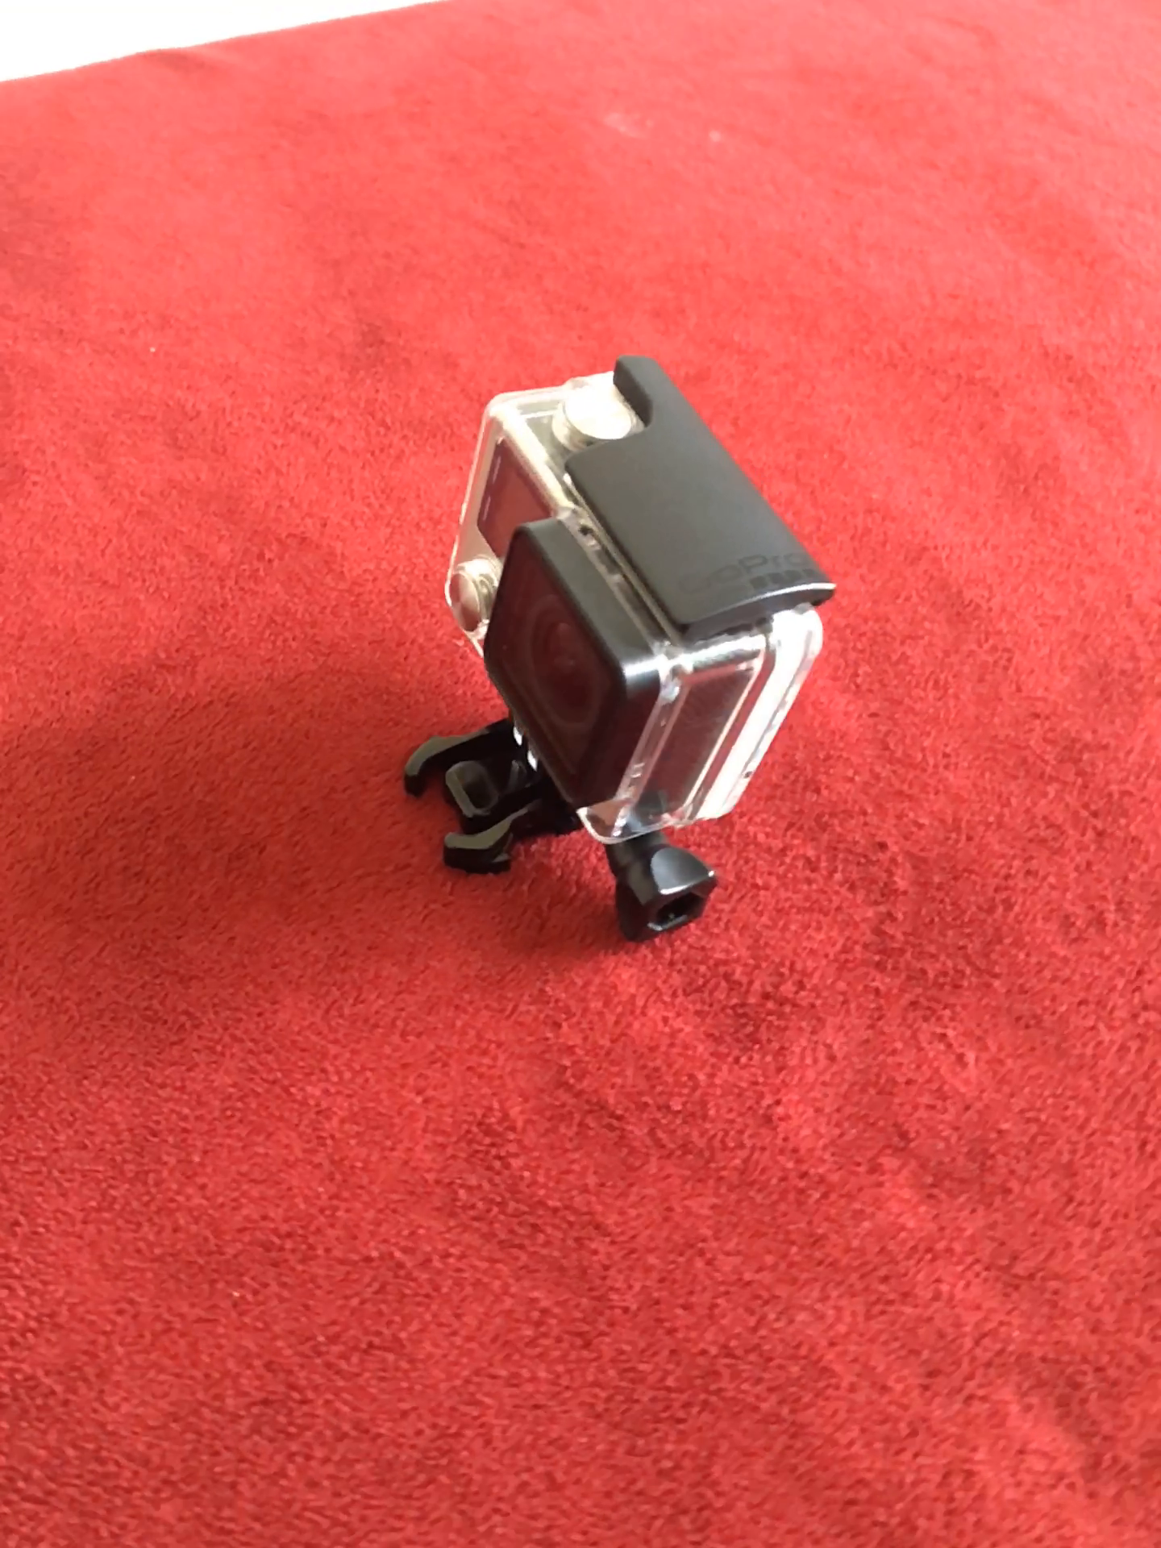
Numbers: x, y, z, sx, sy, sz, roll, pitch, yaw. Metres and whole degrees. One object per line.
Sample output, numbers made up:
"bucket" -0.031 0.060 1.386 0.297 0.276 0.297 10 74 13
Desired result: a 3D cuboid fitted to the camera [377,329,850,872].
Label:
"camera" 0.001 -0.031 0.219 0.040 0.050 0.073 -16 55 -27
